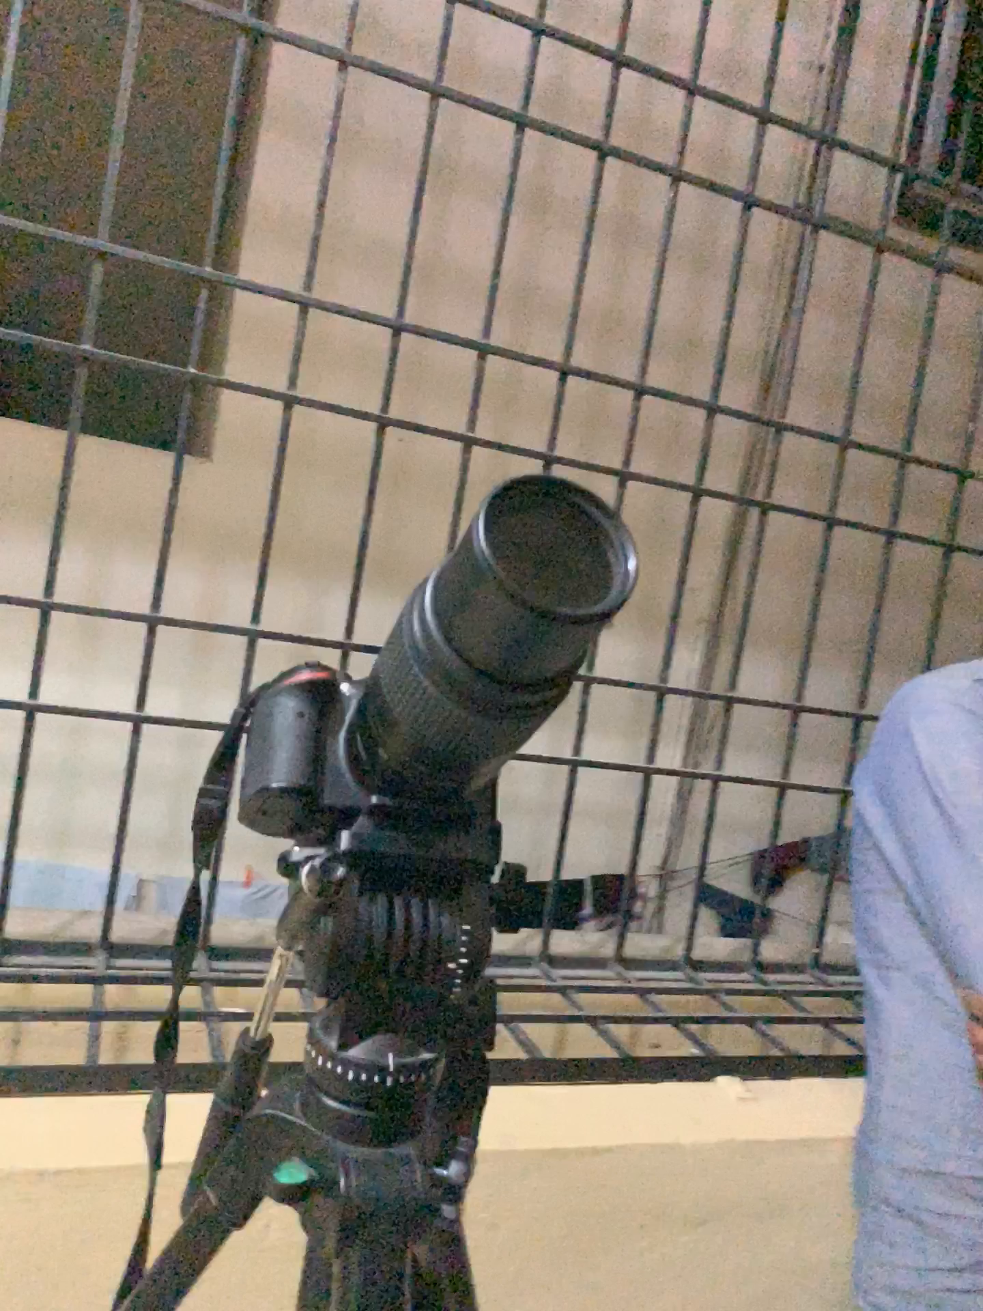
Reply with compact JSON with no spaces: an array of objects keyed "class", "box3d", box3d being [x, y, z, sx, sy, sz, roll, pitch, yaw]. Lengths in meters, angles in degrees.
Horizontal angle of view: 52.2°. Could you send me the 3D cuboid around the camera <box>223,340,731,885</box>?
[{"class":"camera","box3d":[-0.023,0.002,0.412,0.136,0.101,0.209,9,-37,-17]}]
